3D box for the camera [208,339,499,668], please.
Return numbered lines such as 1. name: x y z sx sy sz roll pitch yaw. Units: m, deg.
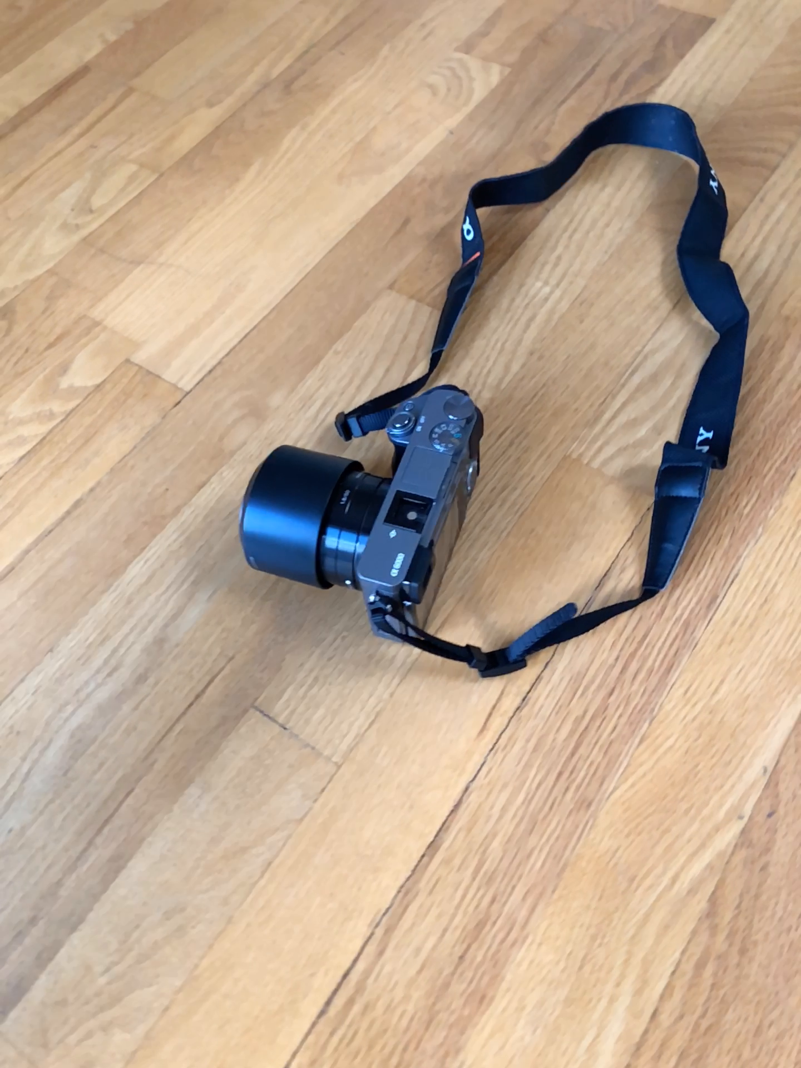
1. camera: -0.017 -0.018 0.475 0.106 0.079 0.136 14 61 13
